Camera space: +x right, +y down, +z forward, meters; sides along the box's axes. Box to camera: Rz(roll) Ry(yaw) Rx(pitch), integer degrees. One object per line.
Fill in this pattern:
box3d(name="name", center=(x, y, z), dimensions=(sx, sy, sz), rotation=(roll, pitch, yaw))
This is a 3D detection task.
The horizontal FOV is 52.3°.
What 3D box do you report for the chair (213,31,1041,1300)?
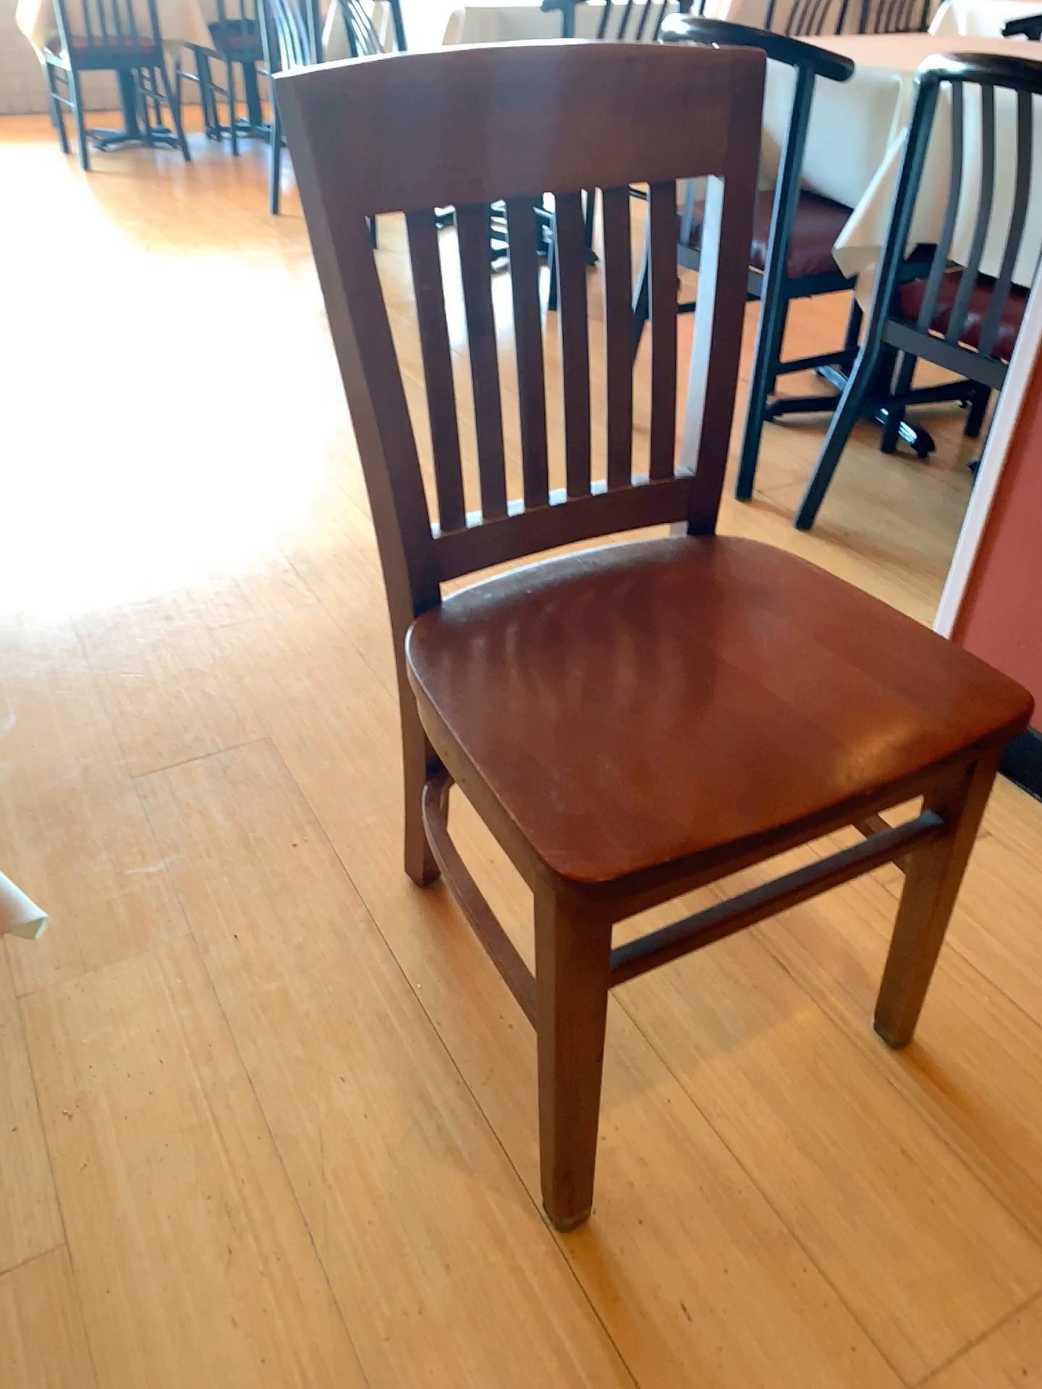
box3d(name="chair", center=(0.129, -0.062, 0.961), dimensions=(0.540, 0.875, 0.573), rotation=(-16, 38, -22))
